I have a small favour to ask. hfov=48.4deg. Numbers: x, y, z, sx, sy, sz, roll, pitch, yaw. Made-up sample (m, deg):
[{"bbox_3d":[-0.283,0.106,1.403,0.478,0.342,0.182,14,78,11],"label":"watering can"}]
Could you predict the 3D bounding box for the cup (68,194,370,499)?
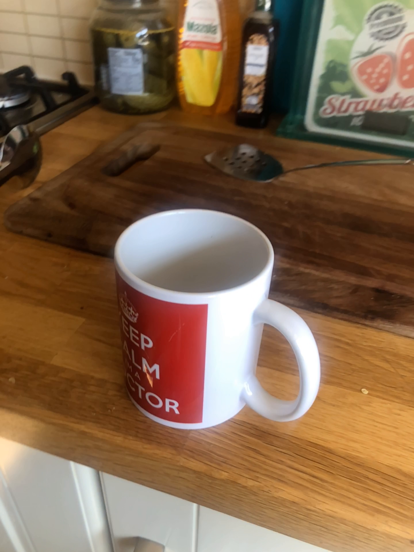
[{"bbox_3d":[0.006,0.029,0.255,0.123,0.094,0.090,21,37,23],"label":"cup"}]
